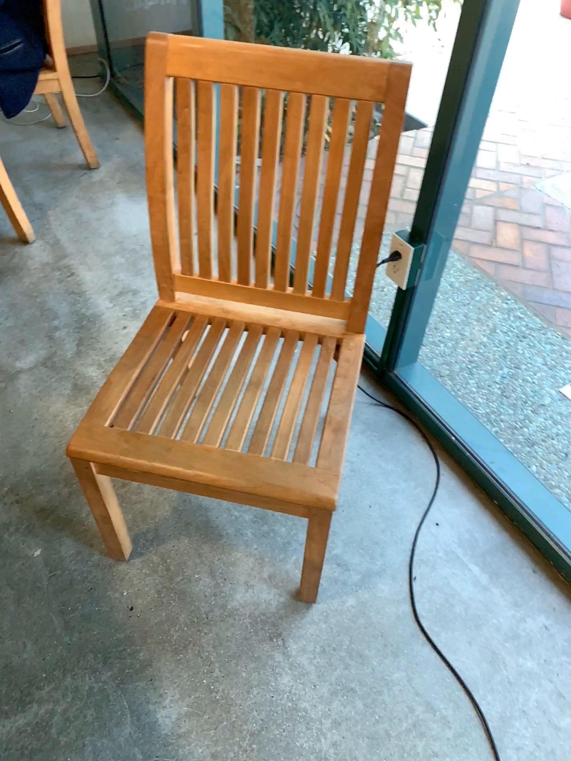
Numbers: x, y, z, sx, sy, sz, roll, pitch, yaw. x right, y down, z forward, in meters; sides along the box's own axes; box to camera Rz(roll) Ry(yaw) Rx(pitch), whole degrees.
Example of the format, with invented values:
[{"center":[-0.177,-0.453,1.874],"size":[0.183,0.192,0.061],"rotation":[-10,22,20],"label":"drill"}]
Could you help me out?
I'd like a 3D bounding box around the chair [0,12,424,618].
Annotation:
[{"center":[-0.113,-0.077,1.133],"size":[0.530,0.915,0.613],"rotation":[11,48,7],"label":"chair"}]
